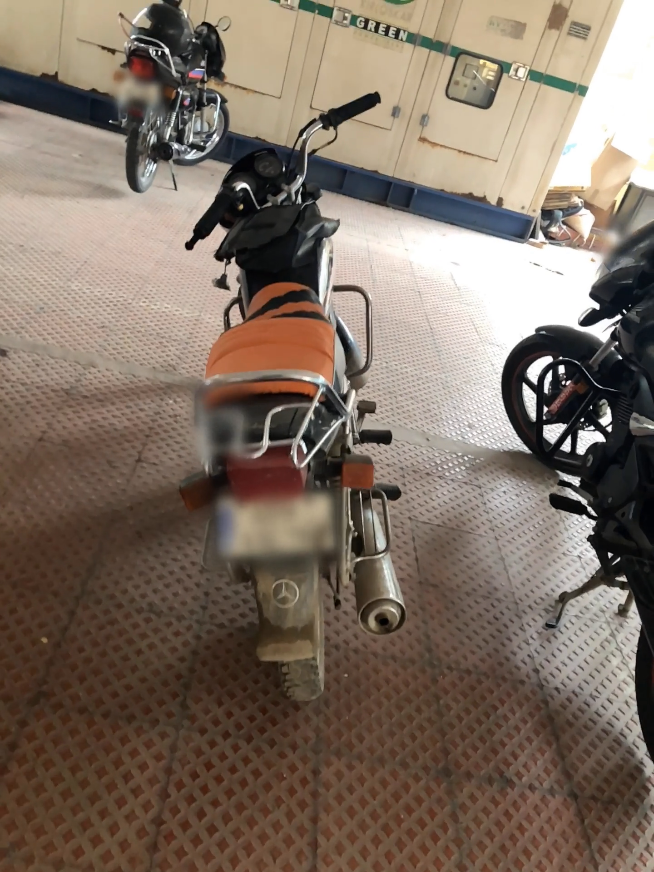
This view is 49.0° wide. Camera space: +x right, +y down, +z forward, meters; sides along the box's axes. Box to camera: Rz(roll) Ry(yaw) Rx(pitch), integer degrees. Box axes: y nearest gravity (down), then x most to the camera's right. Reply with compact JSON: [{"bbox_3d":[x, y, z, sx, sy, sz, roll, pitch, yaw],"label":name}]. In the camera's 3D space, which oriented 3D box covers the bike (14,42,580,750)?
[{"bbox_3d":[-0.218,-0.227,1.789,0.688,1.123,1.410,10,30,-13],"label":"bike"}]
